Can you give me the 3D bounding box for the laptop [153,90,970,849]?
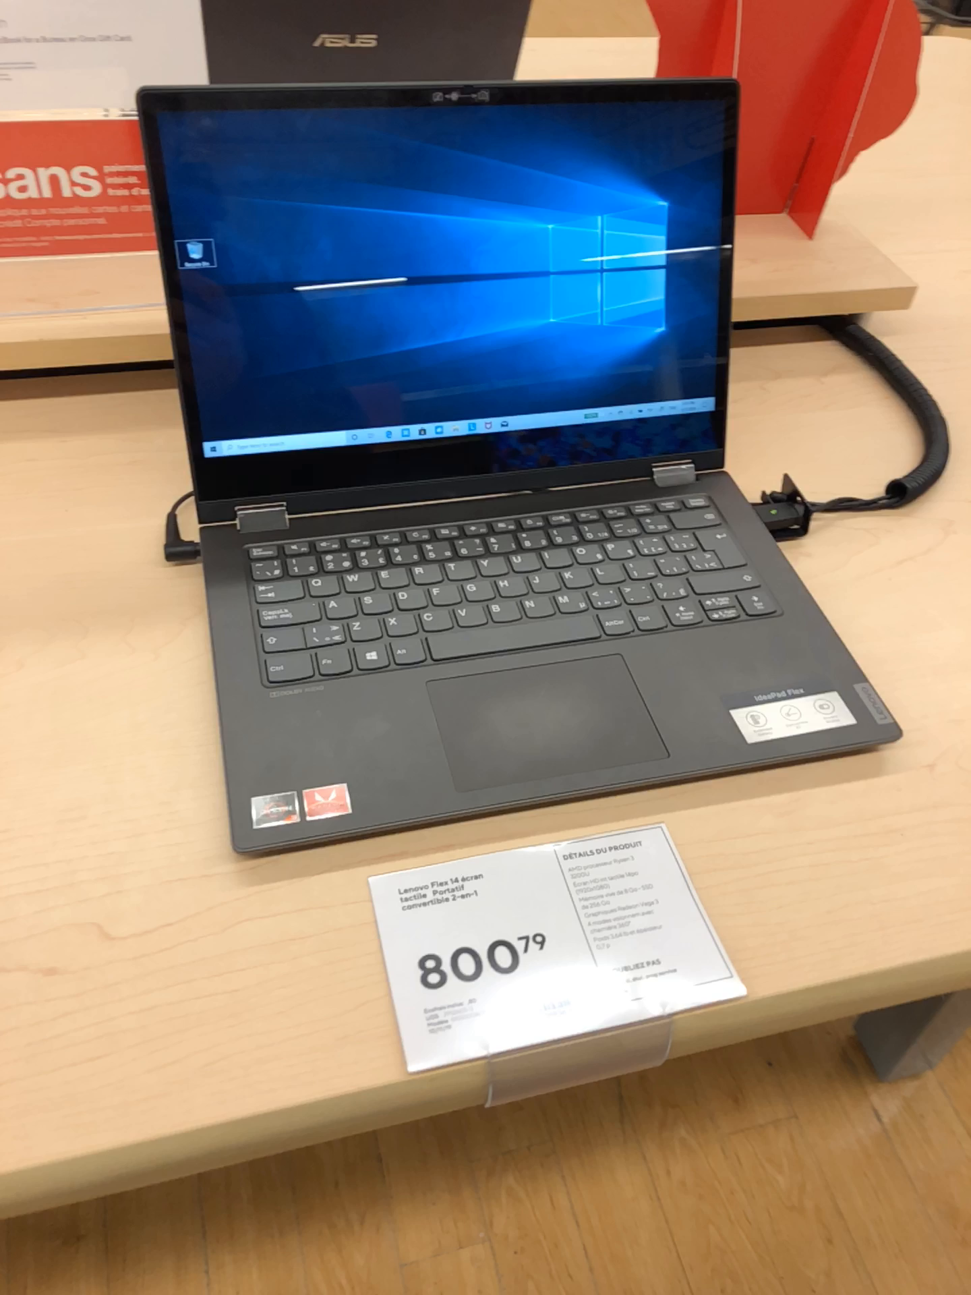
[{"bbox_3d":[0.021,-0.112,0.523,0.319,0.198,0.307,-8,47,-13],"label":"laptop"}]
